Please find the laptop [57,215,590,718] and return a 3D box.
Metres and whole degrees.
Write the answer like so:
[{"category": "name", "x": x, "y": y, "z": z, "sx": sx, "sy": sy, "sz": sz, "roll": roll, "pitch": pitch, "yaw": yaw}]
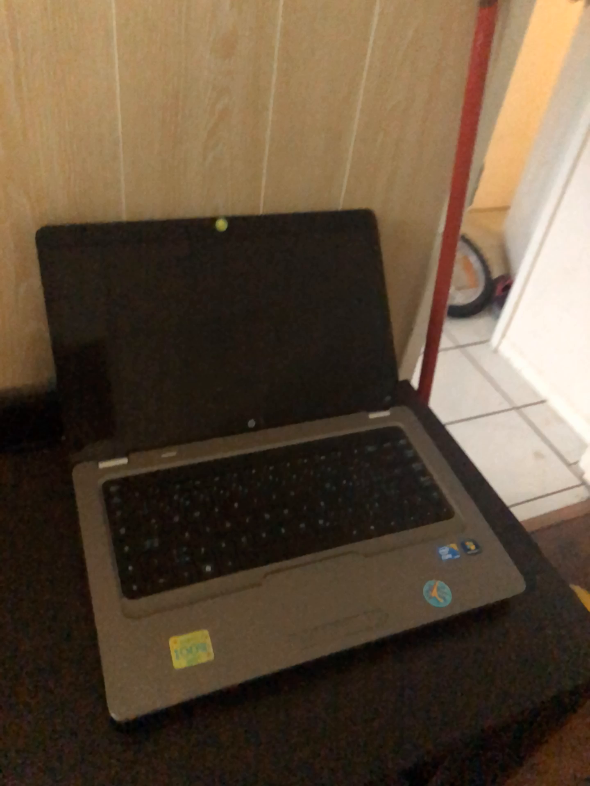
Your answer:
[{"category": "laptop", "x": -0.011, "y": 0.016, "z": 0.615, "sx": 0.356, "sy": 0.166, "sz": 0.404, "roll": -9, "pitch": 45, "yaw": -19}]
